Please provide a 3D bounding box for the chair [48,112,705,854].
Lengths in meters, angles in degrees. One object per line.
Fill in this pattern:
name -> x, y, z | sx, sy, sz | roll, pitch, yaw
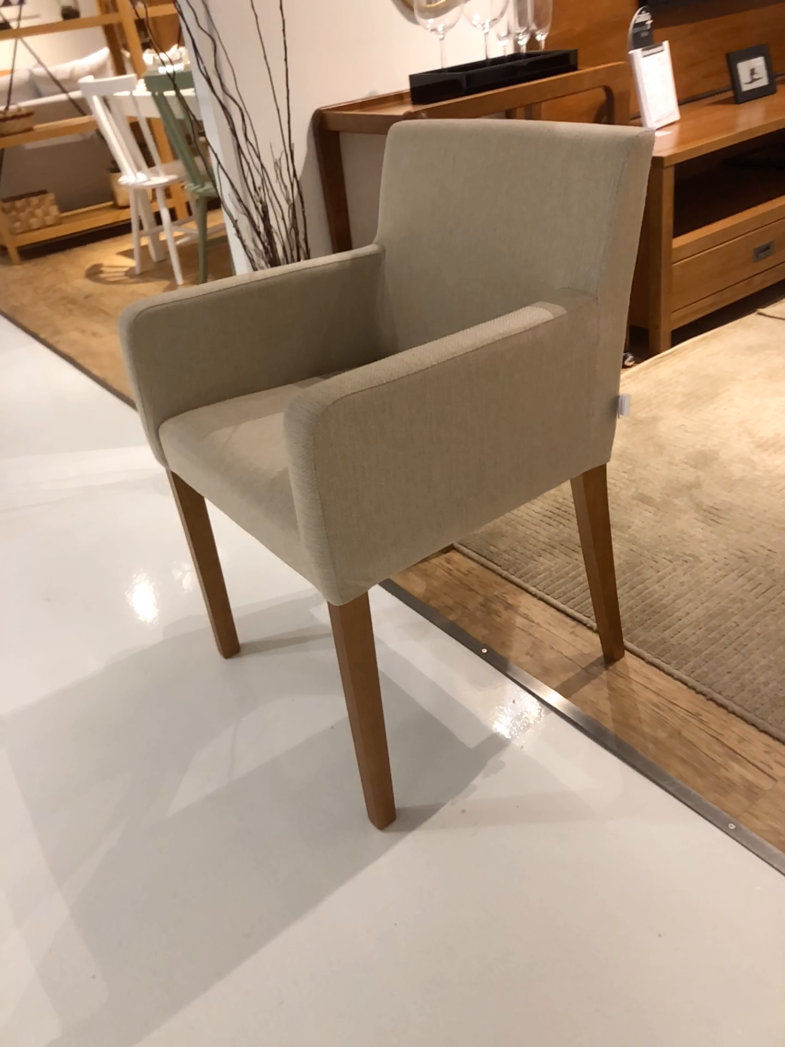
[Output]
chair -> -0.002, -0.127, 1.311 | 0.622, 0.794, 0.603 | -26, 35, -26
